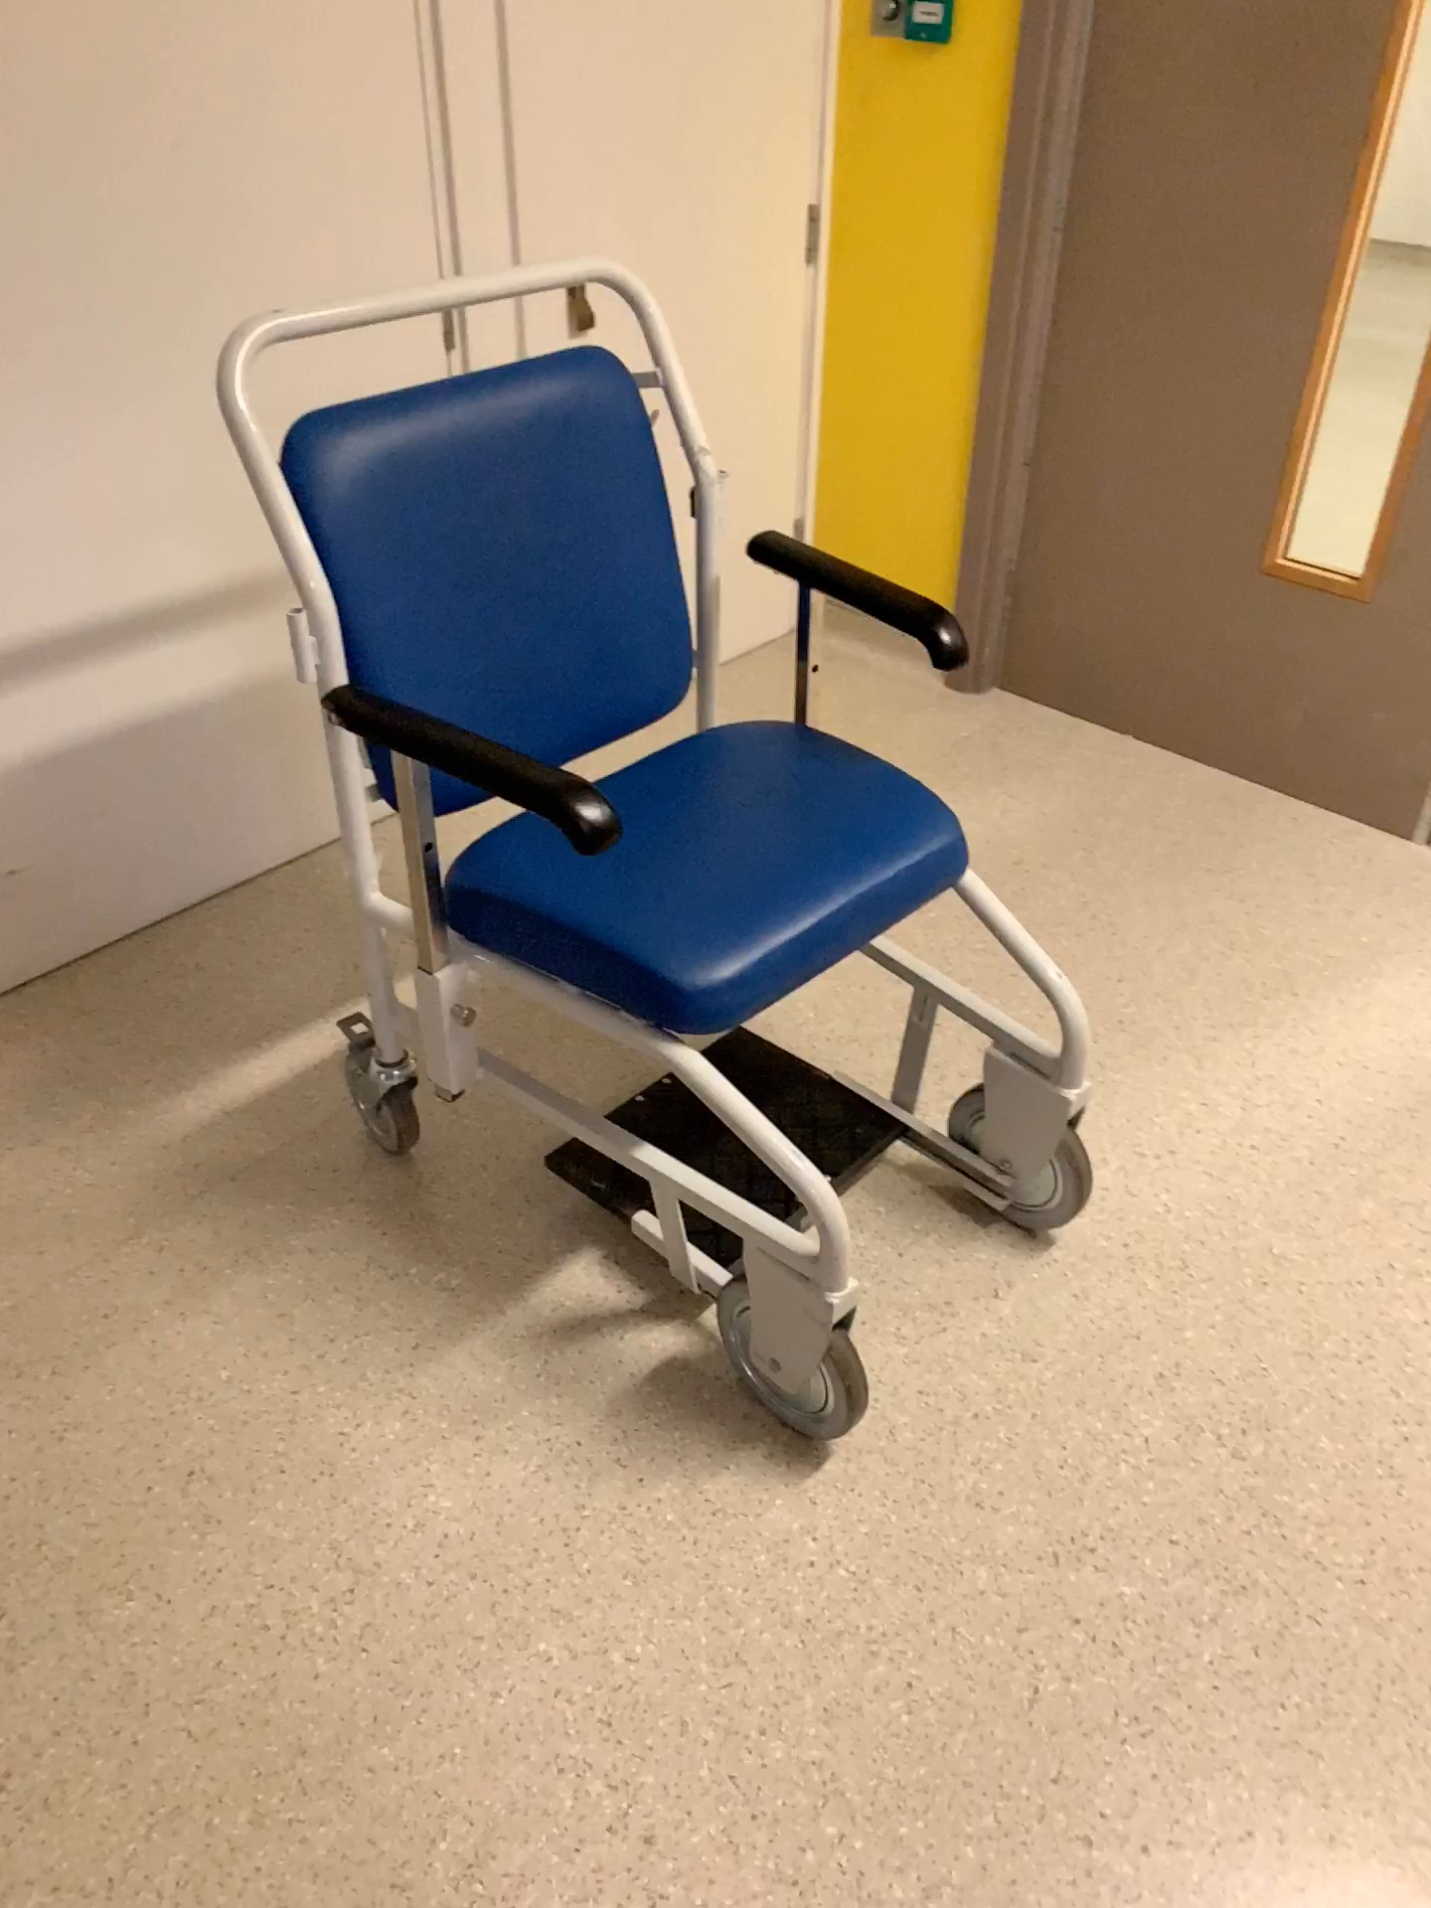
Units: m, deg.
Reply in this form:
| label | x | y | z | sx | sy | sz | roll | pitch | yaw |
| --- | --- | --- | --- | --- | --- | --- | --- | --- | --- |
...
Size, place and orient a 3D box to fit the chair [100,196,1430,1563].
| label | x | y | z | sx | sy | sz | roll | pitch | yaw |
| --- | --- | --- | --- | --- | --- | --- | --- | --- | --- |
| chair | 0.030 | -0.173 | 1.666 | 0.824 | 1.030 | 0.945 | -31 | 47 | -34 |
